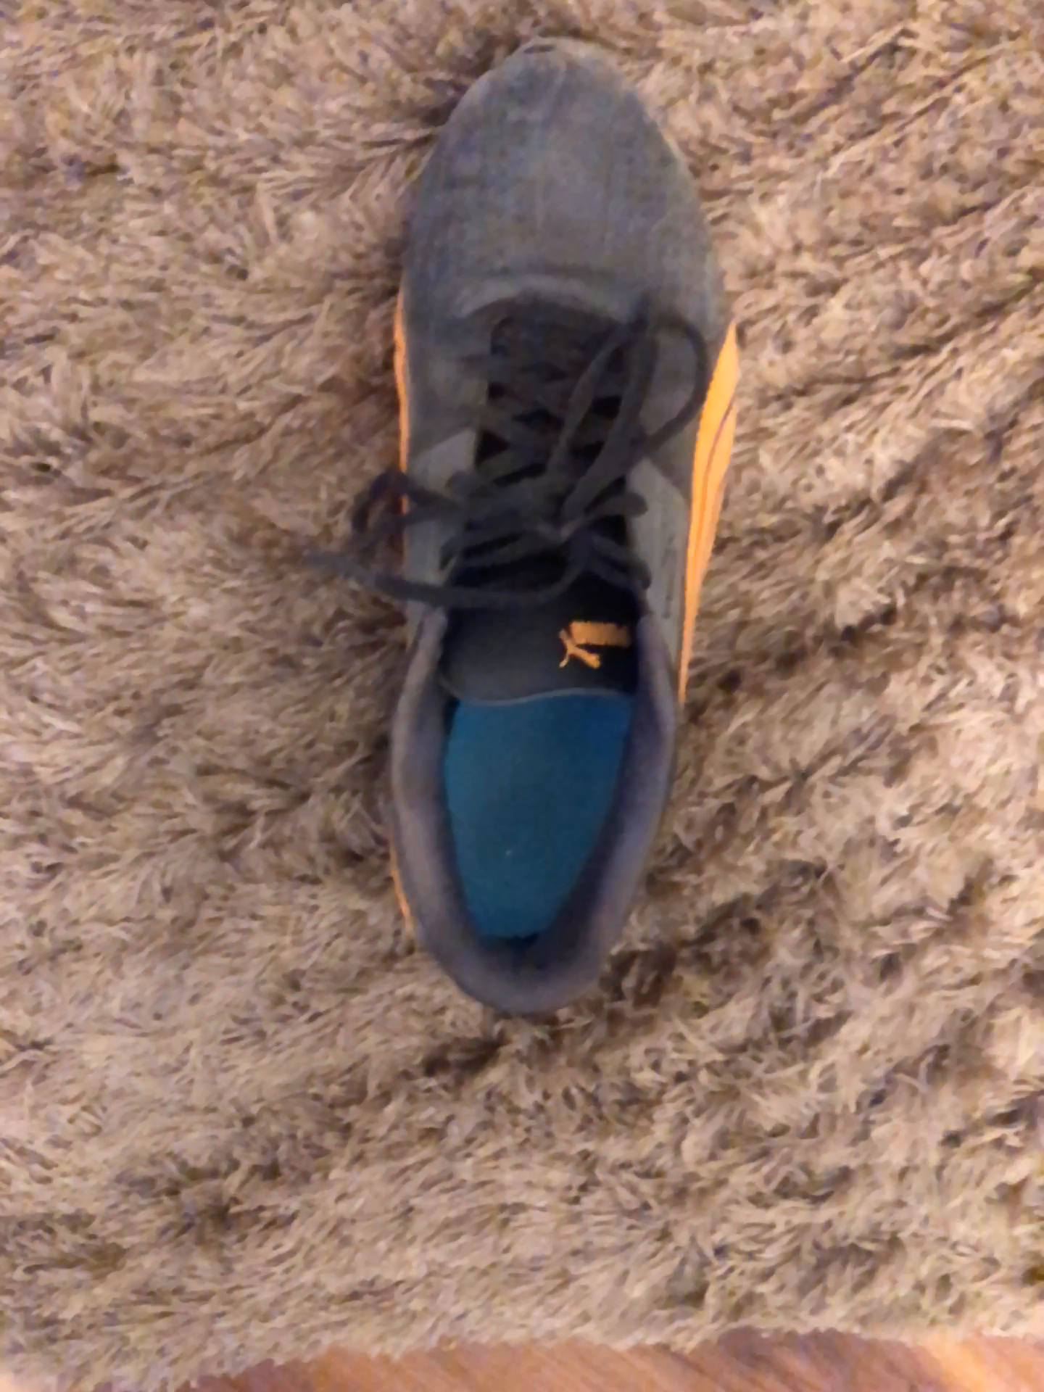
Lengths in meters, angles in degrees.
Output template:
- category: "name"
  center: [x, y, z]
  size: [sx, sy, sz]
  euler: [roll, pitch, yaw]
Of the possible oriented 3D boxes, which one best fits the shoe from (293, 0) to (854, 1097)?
- category: "shoe"
  center: [0.001, -0.040, 0.361]
  size: [0.122, 0.110, 0.301]
  euler: [3, 104, -7]
